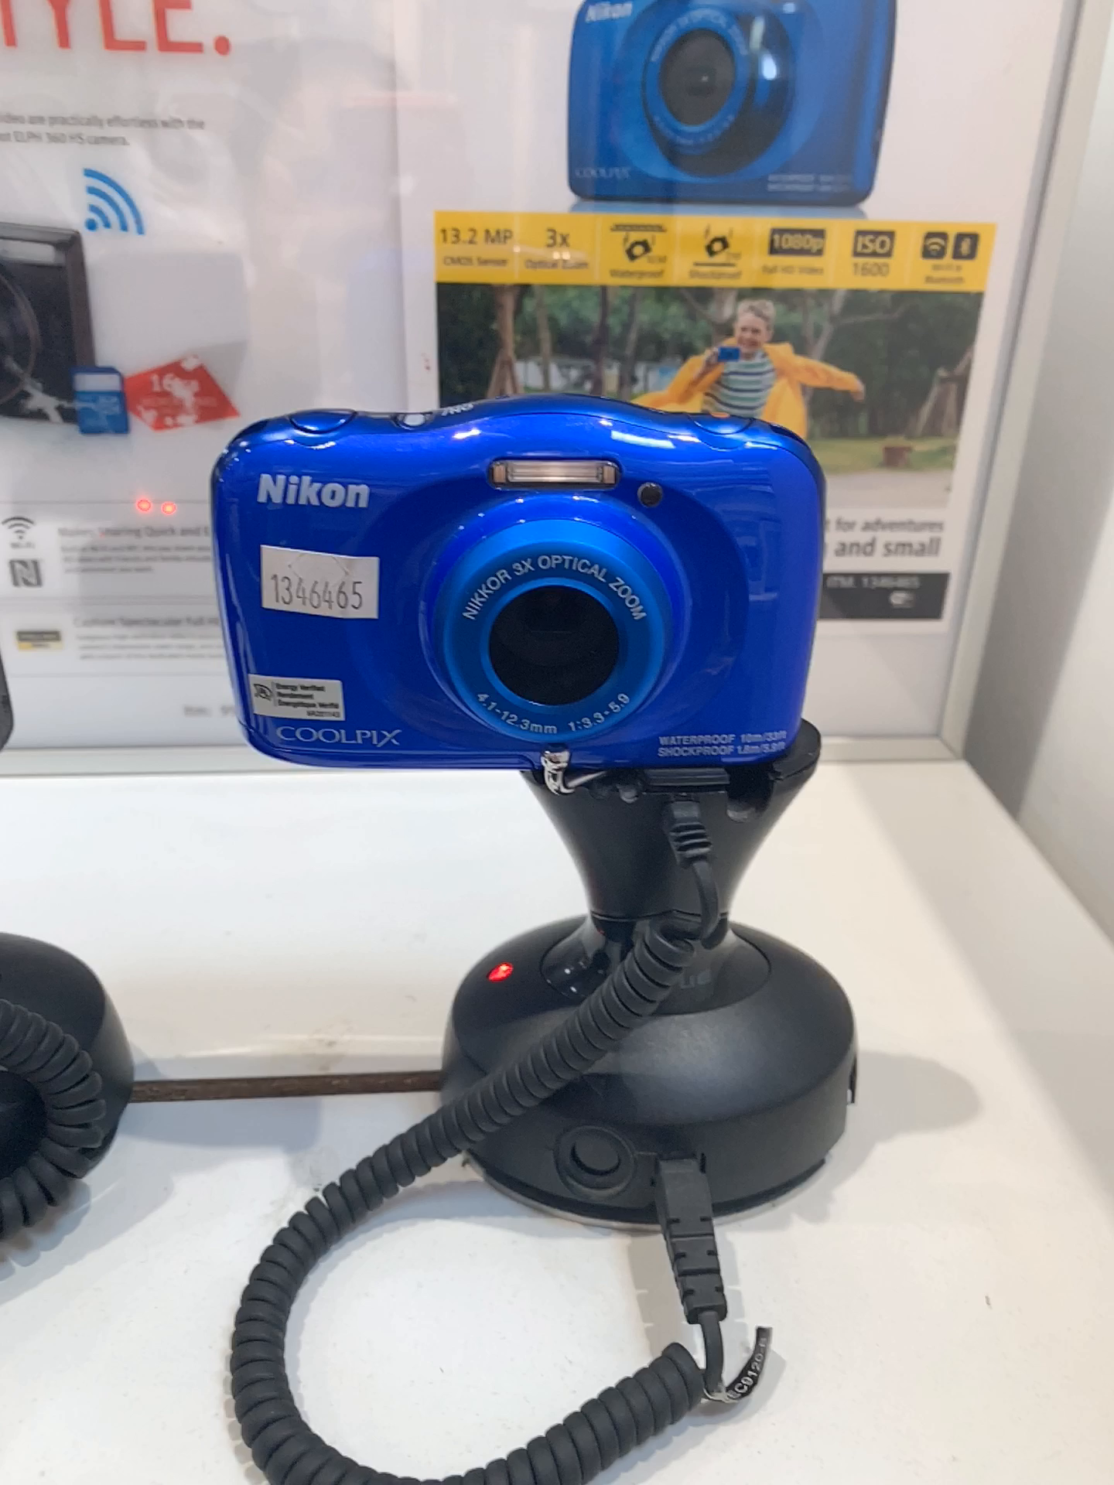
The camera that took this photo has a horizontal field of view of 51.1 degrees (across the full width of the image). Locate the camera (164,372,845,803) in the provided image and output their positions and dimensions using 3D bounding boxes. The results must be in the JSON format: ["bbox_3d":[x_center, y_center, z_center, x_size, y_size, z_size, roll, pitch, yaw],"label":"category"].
[{"bbox_3d":[-0.009,-0.028,0.207,0.101,0.063,0.046,0,27,-3],"label":"camera"}]
